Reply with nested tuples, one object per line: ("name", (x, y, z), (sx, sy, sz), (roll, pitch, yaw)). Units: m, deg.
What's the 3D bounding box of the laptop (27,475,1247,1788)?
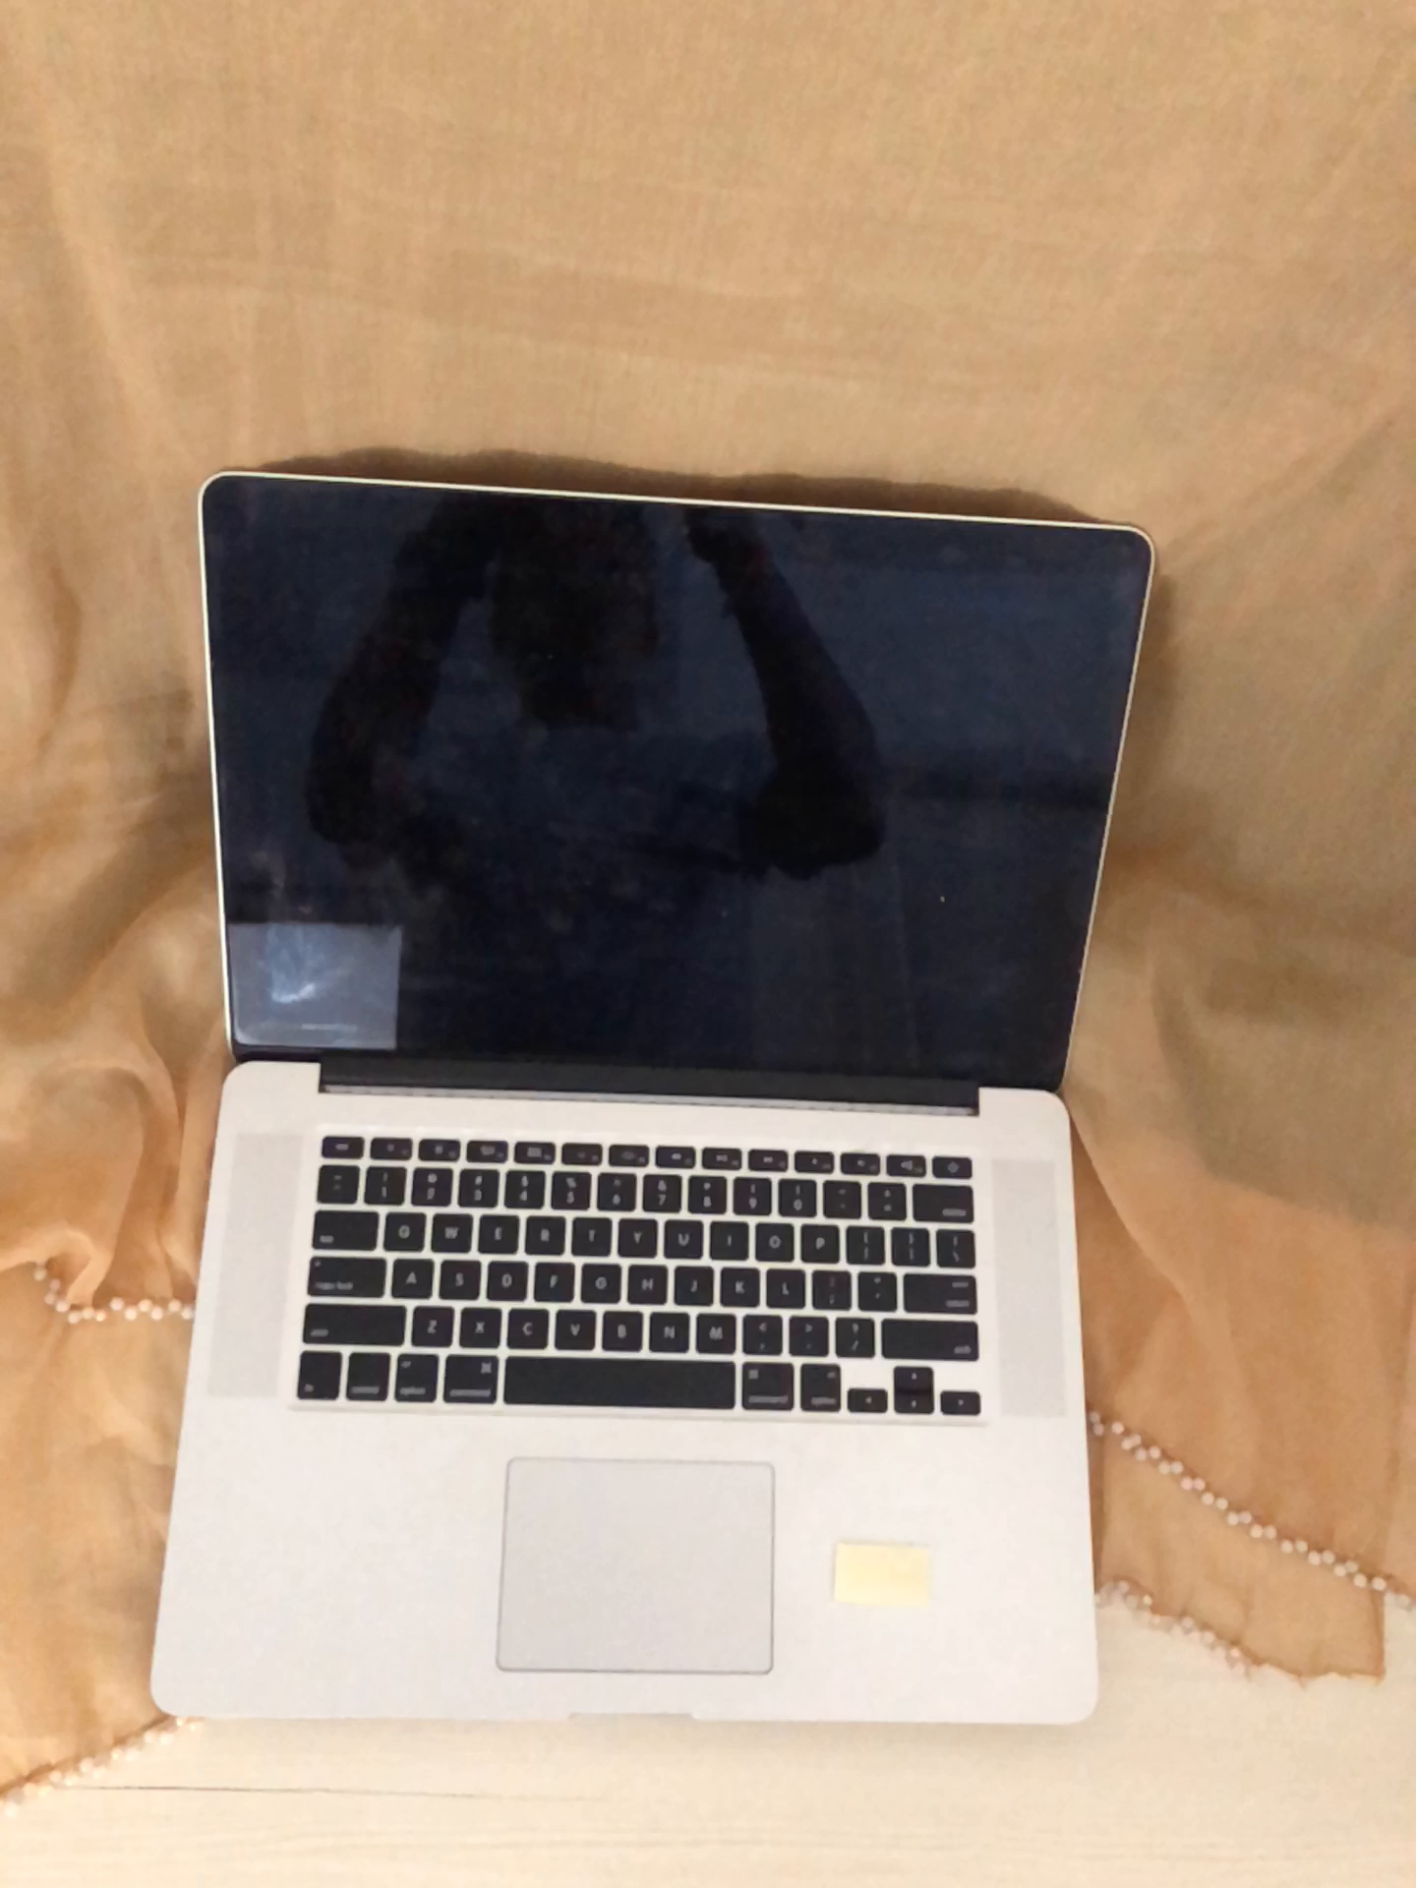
("laptop", (-0.015, 0.057, 0.555), (0.336, 0.135, 0.406), (2, 73, -4))
